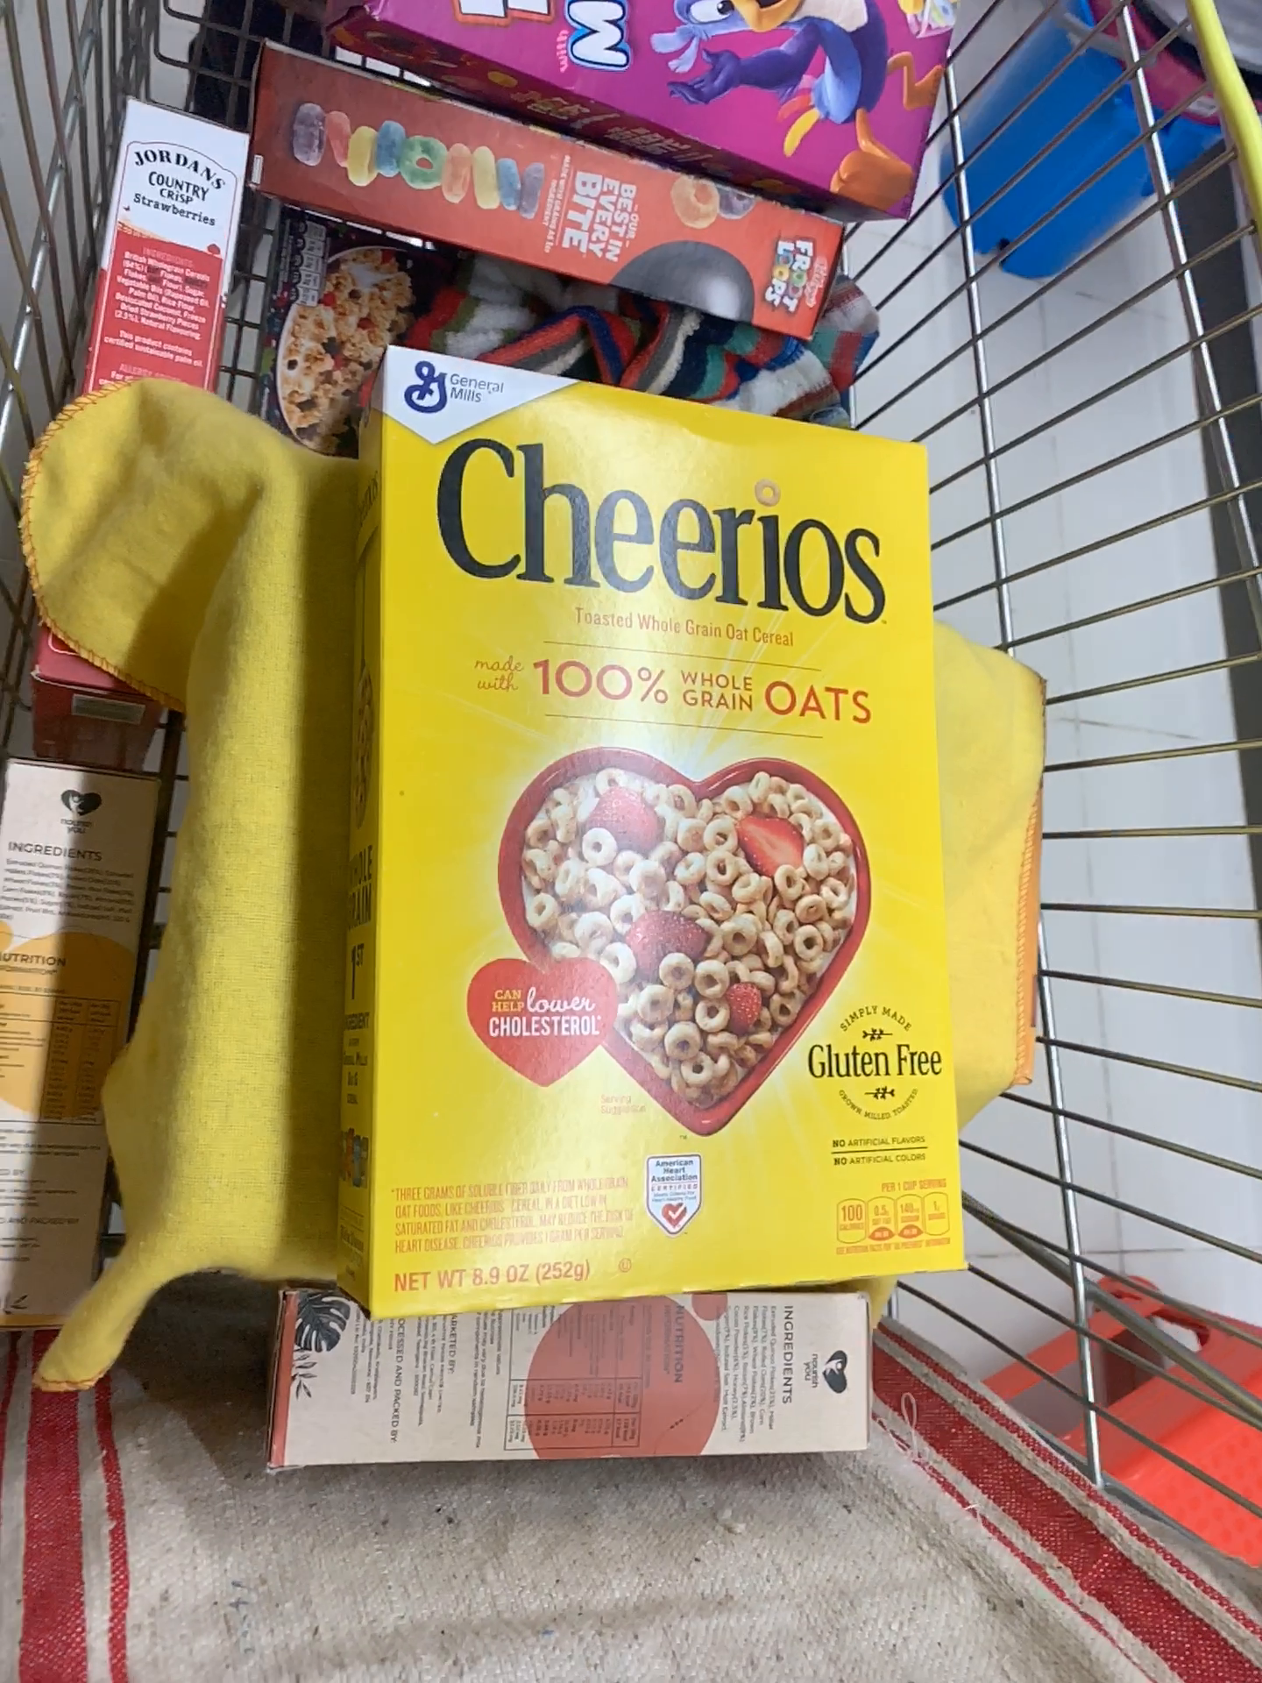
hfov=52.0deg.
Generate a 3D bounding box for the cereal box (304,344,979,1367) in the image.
[{"bbox_3d":[0.003,0.004,0.400,0.190,0.060,0.270,2,81,-21],"label":"cereal box"}]
